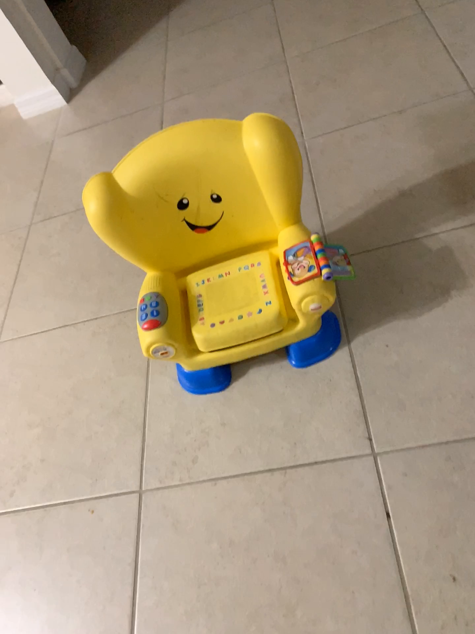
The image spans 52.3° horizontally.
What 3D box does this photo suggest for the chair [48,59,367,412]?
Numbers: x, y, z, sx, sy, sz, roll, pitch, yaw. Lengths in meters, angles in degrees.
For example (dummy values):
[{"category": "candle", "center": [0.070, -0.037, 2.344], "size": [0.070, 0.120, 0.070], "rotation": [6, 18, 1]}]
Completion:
[{"category": "chair", "center": [-0.023, -0.121, 0.973], "size": [0.420, 0.486, 0.373], "rotation": [-16, 53, 11]}]
